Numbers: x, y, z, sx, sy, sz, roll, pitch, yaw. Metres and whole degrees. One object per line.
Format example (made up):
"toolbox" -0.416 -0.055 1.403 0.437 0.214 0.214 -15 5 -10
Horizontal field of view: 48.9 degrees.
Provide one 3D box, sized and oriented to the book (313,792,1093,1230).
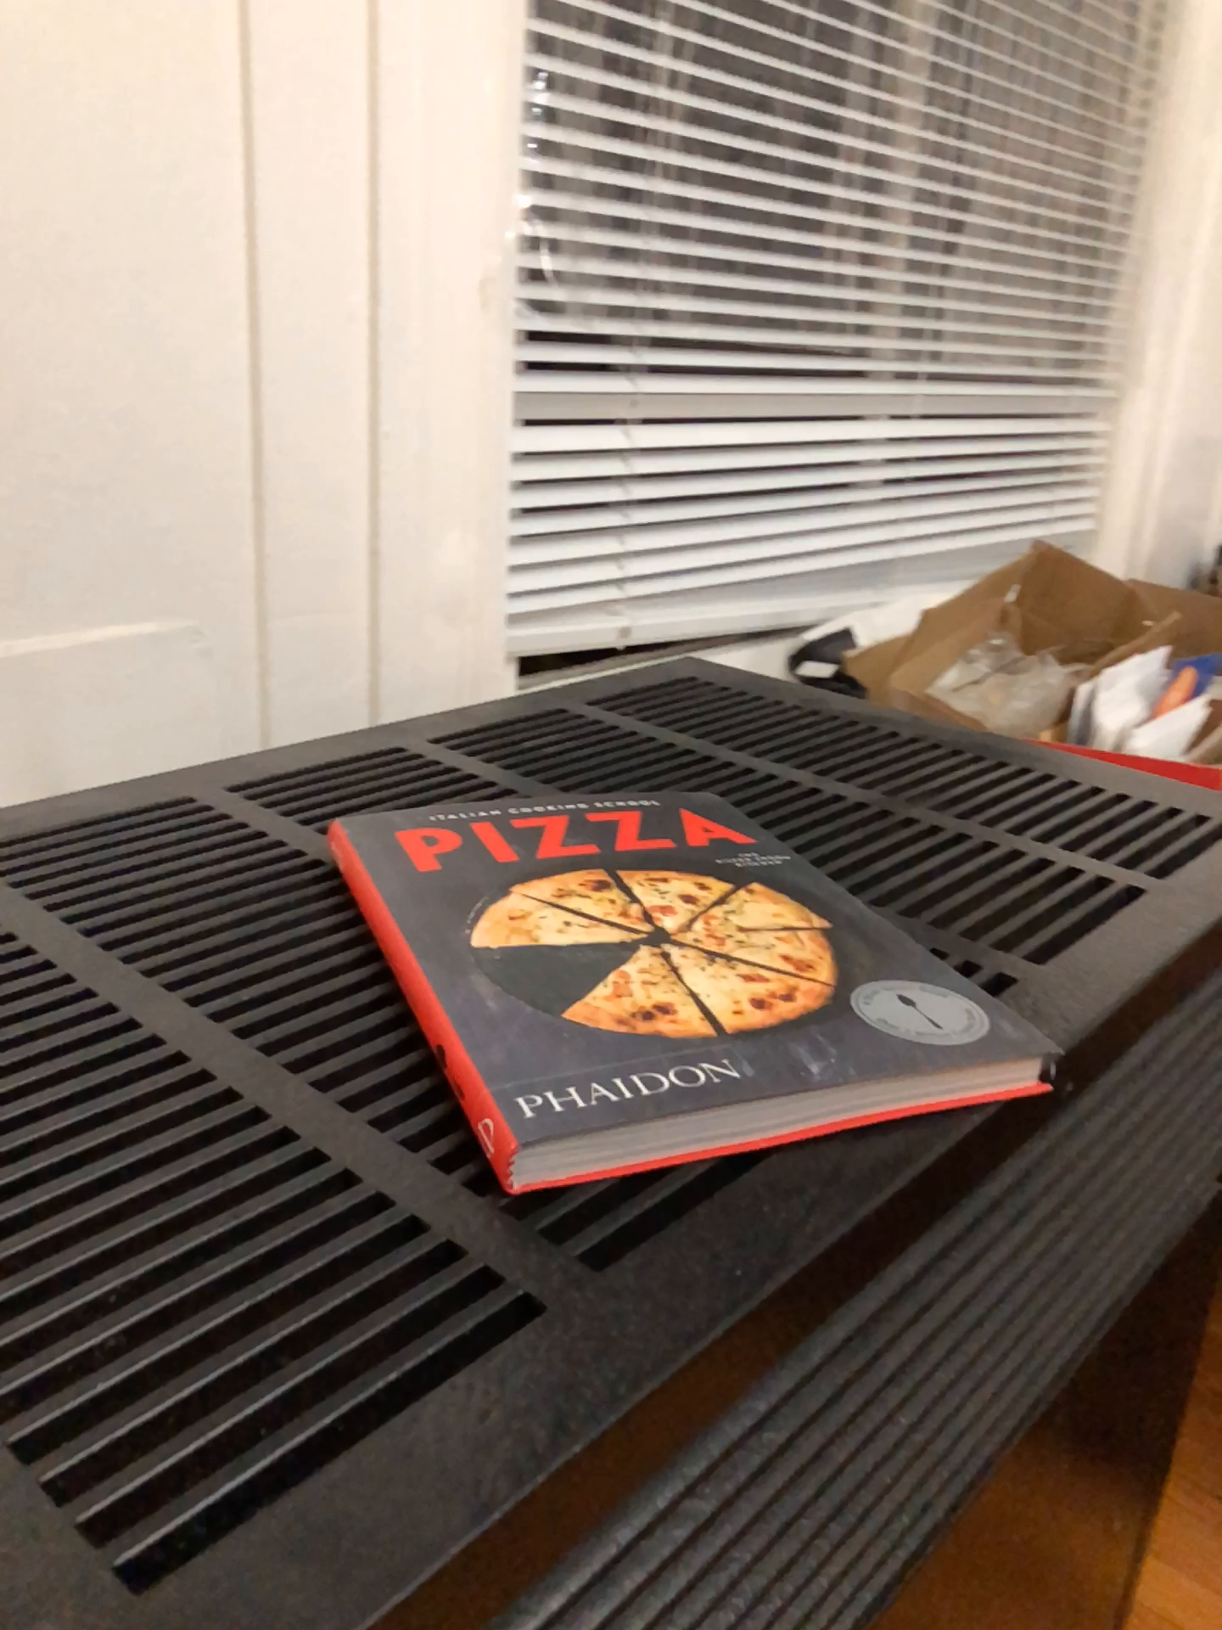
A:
"book" 0.011 0.045 0.455 0.180 0.020 0.231 -5 21 -22
